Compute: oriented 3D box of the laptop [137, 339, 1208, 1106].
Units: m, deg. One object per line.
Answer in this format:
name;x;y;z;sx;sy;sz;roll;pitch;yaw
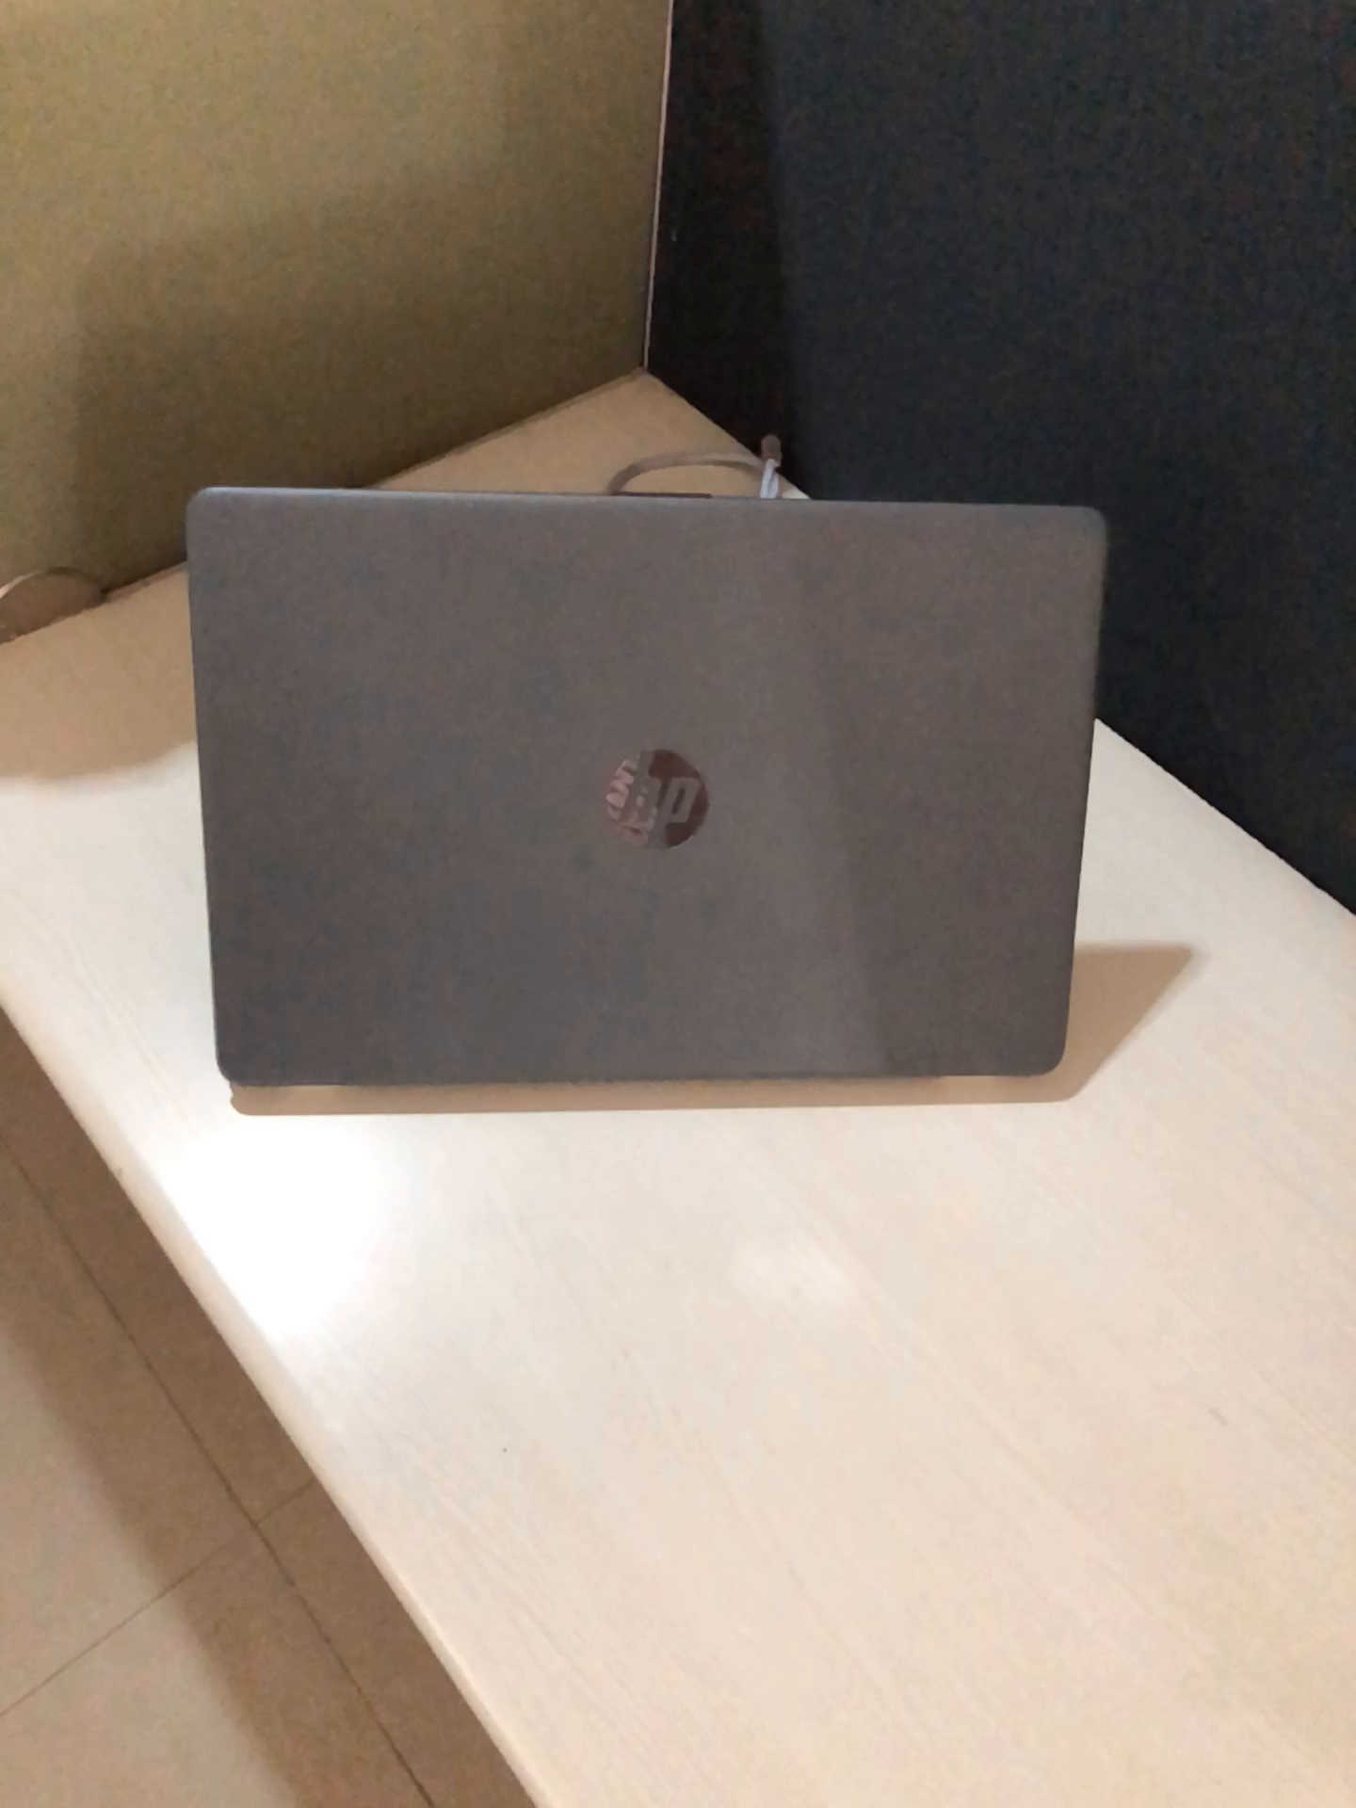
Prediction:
laptop;-0.012;-0.076;0.654;0.361;0.204;0.248;0;54;-5
